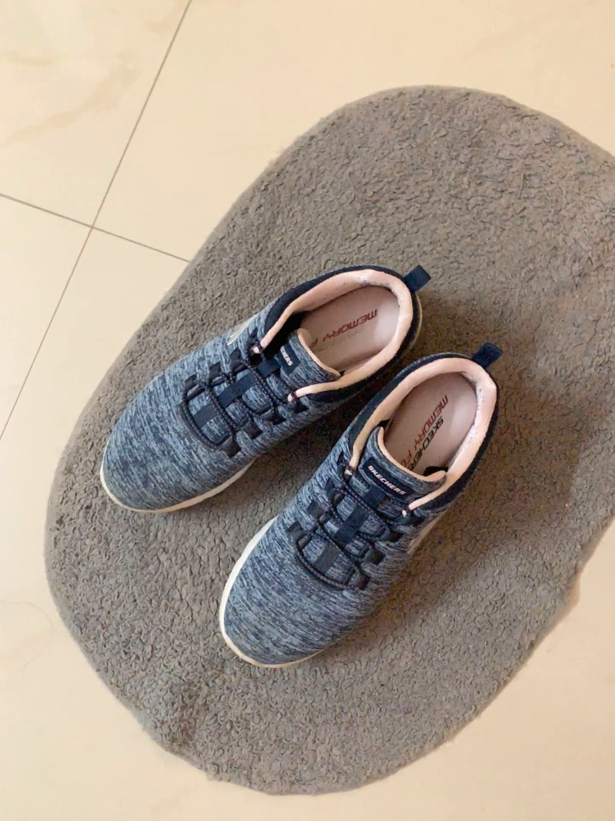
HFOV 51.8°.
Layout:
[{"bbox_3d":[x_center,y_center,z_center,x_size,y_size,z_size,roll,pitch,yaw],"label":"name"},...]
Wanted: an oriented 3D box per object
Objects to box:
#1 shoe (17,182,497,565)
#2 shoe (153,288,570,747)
[{"bbox_3d":[-0.027,-0.021,0.413,0.270,0.100,0.090,-33,85,-7],"label":"shoe"},{"bbox_3d":[0.039,0.066,0.447,0.100,0.100,0.290,41,81,7],"label":"shoe"}]
